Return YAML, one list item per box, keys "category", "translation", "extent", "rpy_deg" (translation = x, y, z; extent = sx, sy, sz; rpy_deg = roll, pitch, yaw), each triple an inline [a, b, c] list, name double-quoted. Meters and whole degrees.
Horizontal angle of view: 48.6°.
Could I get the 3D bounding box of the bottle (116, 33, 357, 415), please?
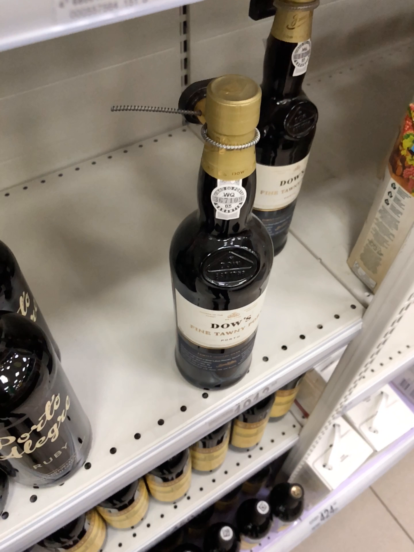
- category: "bottle"
  translation: [0.010, -0.006, 0.353]
  extent: [0.090, 0.296, 0.090]
  rpy_deg: [1, 53, -1]
